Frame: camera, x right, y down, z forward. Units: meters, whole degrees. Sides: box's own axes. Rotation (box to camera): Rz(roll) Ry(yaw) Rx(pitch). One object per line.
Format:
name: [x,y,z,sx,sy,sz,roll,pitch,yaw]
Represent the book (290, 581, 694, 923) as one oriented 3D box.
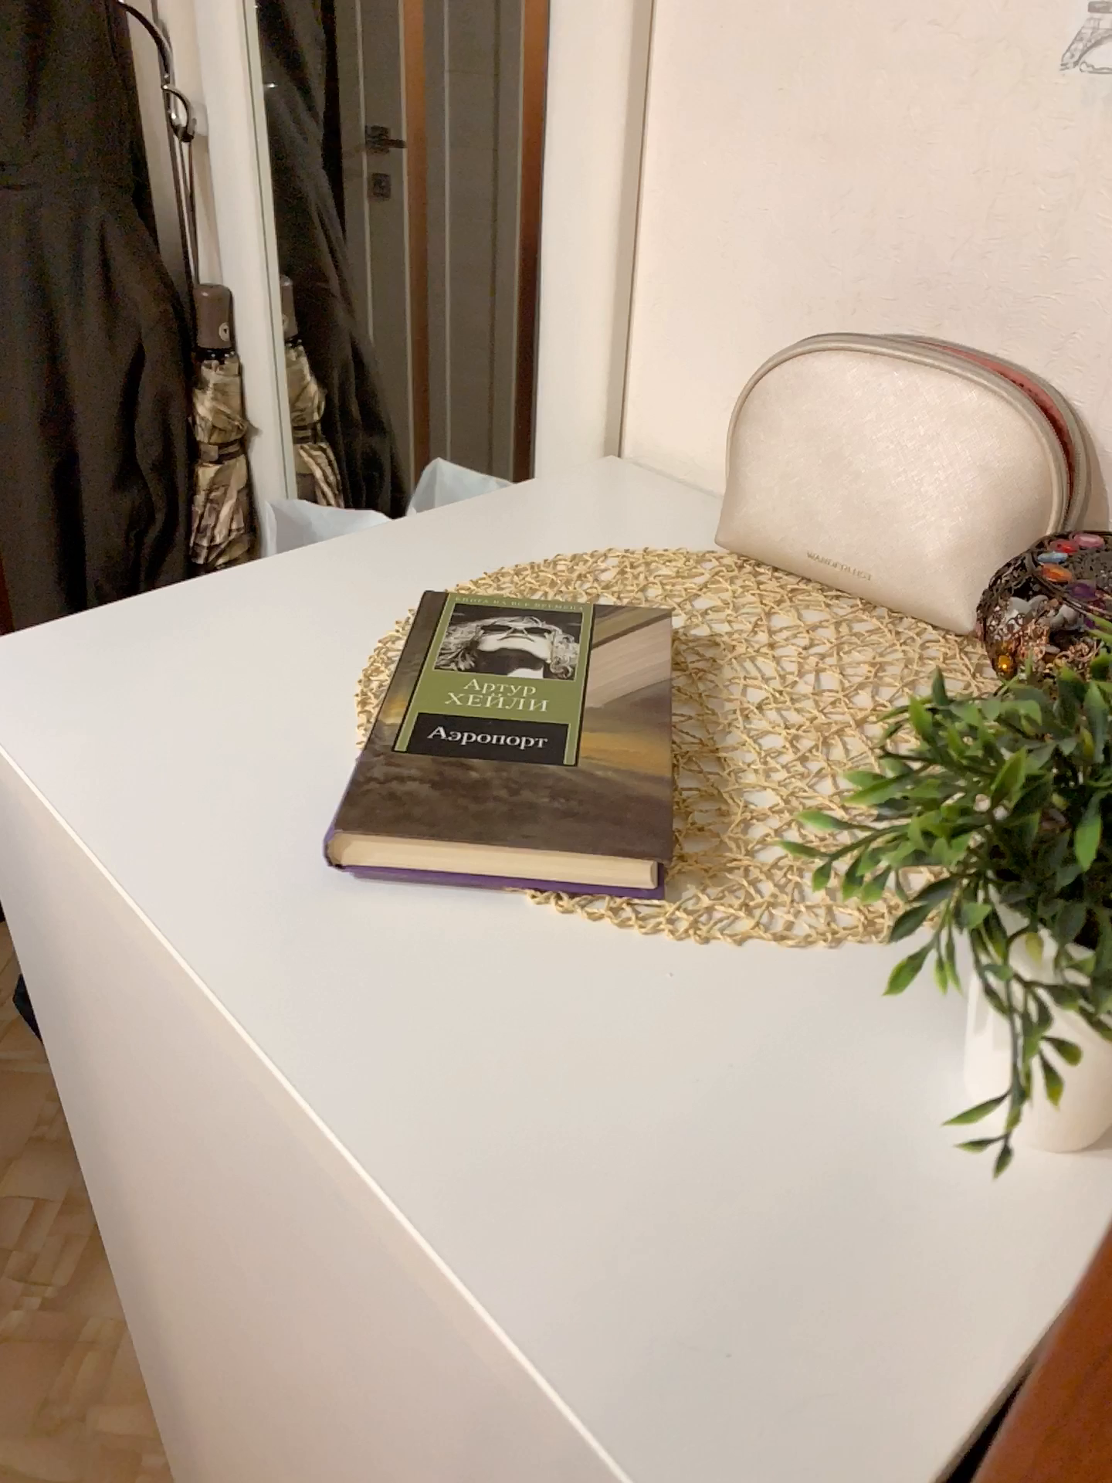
book: [-0.013,-0.010,0.521,0.150,0.020,0.232,5,33,4]
